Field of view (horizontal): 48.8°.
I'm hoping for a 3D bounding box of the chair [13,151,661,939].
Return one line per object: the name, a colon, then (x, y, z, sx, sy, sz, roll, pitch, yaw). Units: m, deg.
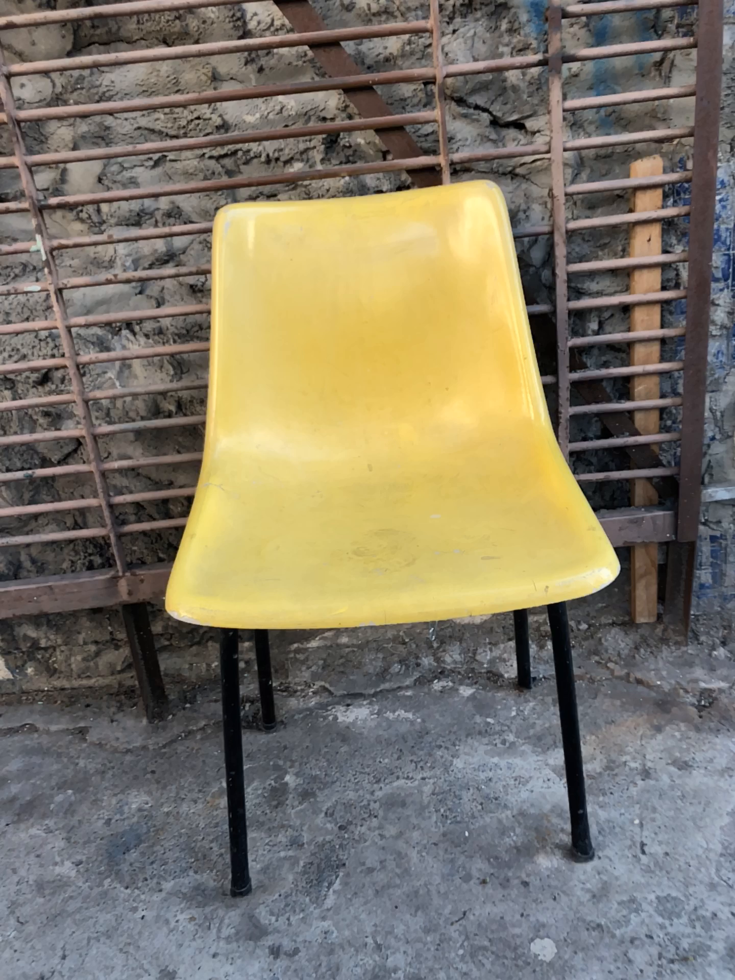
chair: (0.015, 0.028, 0.941, 0.480, 0.716, 0.473, -7, 21, 2)
